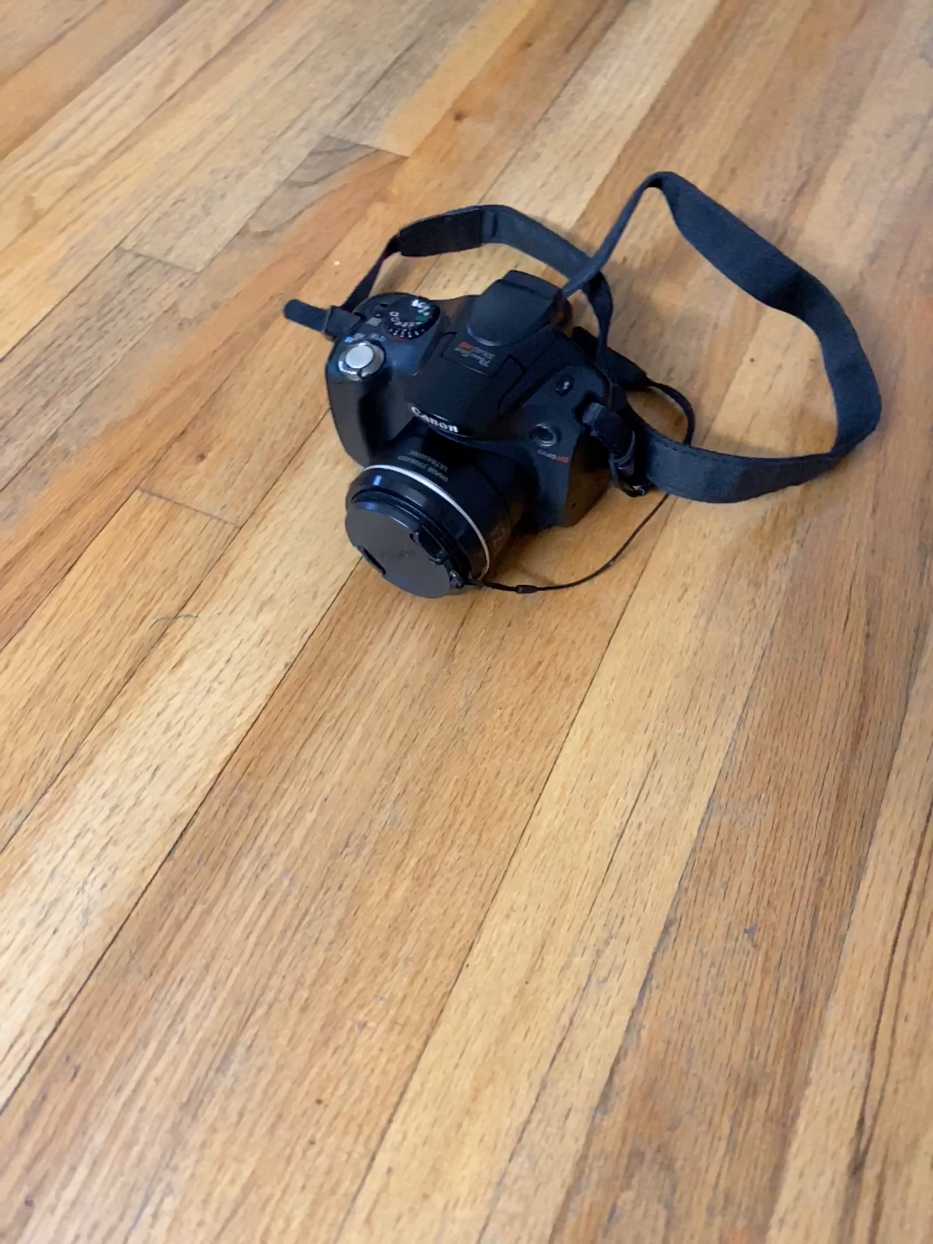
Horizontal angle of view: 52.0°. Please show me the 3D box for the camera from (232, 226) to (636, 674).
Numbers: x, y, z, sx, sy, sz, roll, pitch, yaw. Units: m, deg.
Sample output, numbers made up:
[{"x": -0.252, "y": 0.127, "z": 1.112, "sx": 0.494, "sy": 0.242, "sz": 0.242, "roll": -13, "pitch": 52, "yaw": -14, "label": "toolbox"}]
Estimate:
[{"x": -0.008, "y": -0.073, "z": 0.411, "sx": 0.110, "sy": 0.110, "sz": 0.120, "roll": 23, "pitch": 63, "yaw": 16, "label": "camera"}]
